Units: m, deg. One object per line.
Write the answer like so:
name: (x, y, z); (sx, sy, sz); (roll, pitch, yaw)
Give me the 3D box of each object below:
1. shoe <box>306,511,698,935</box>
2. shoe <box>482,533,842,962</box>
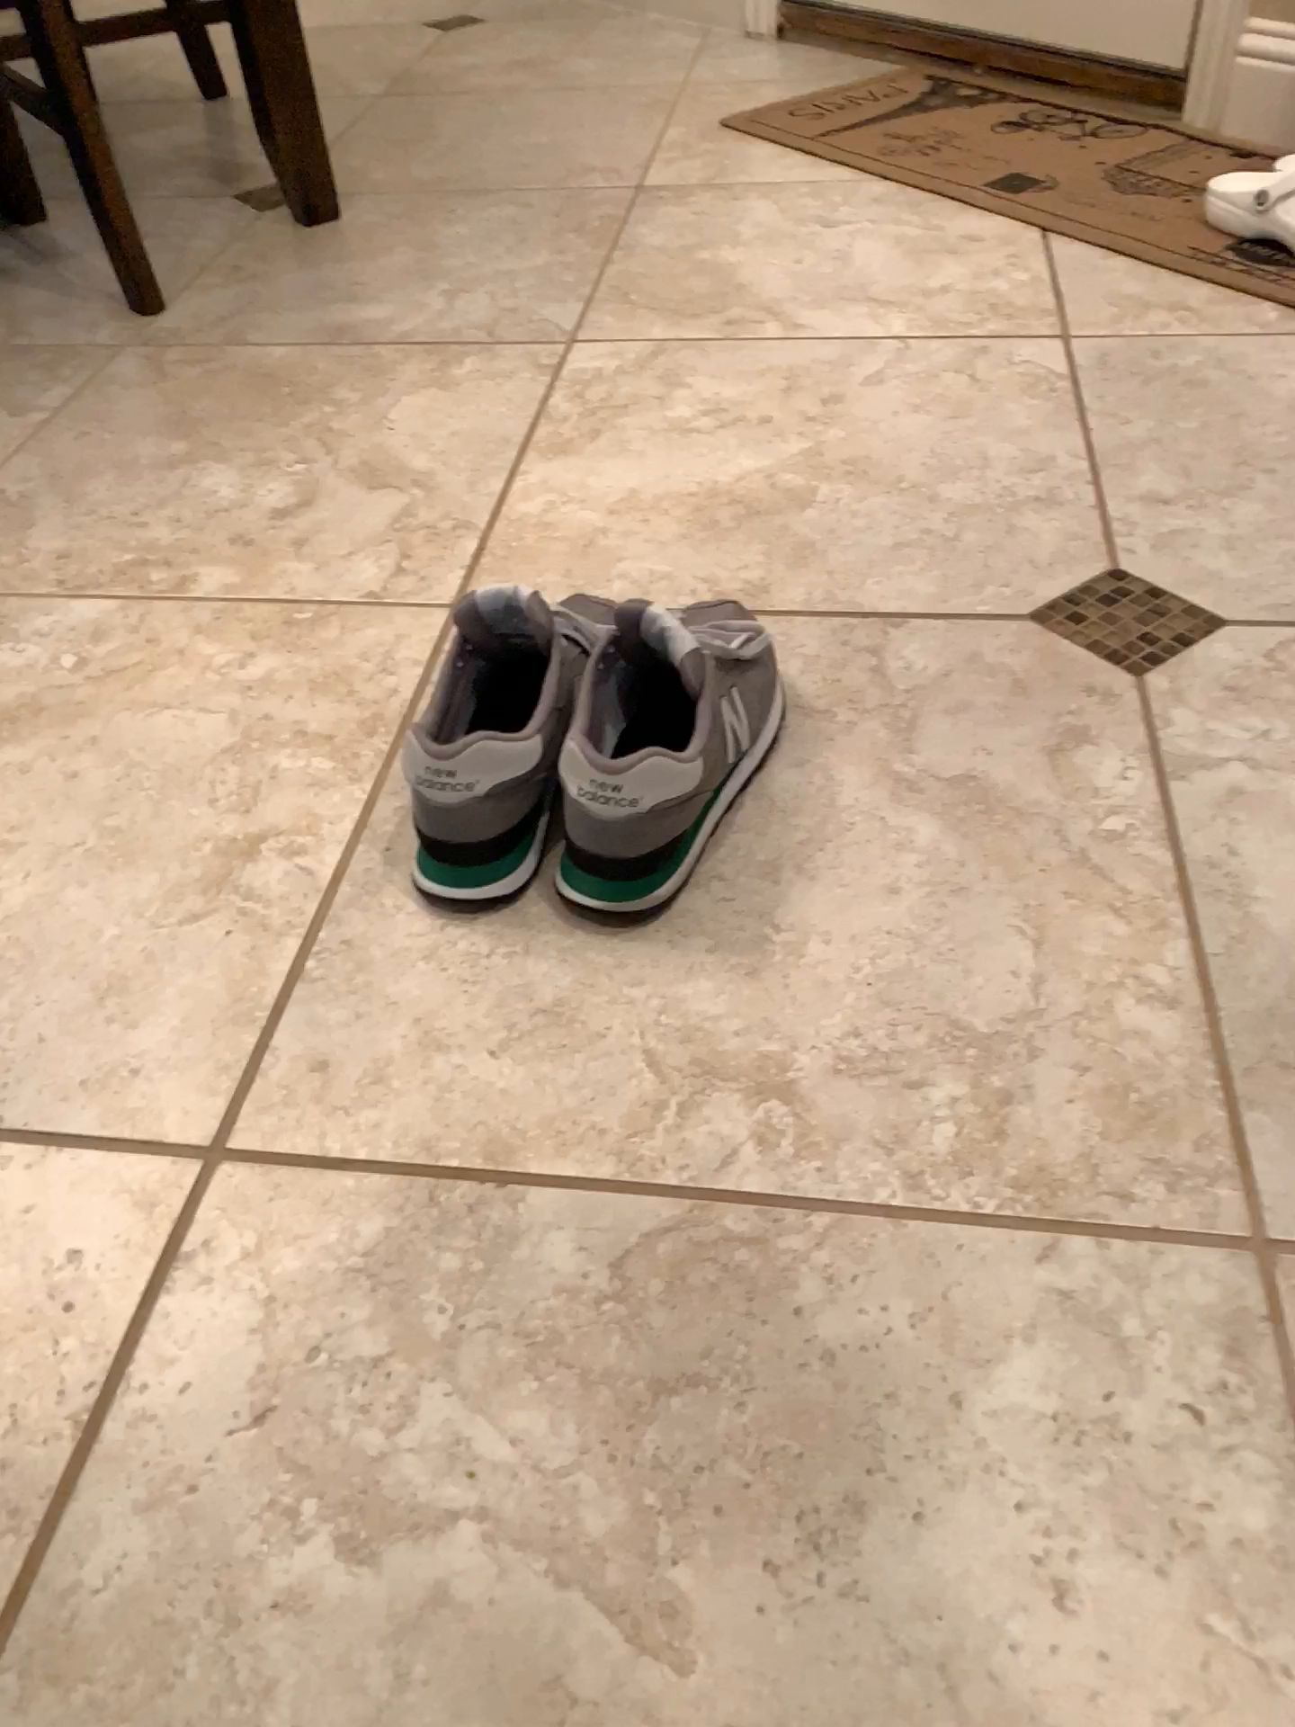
shoe: (-0.076, -0.102, 0.837); (0.115, 0.103, 0.285); (14, 46, 19)
shoe: (0.021, -0.084, 0.817); (0.115, 0.103, 0.275); (14, 46, 19)
